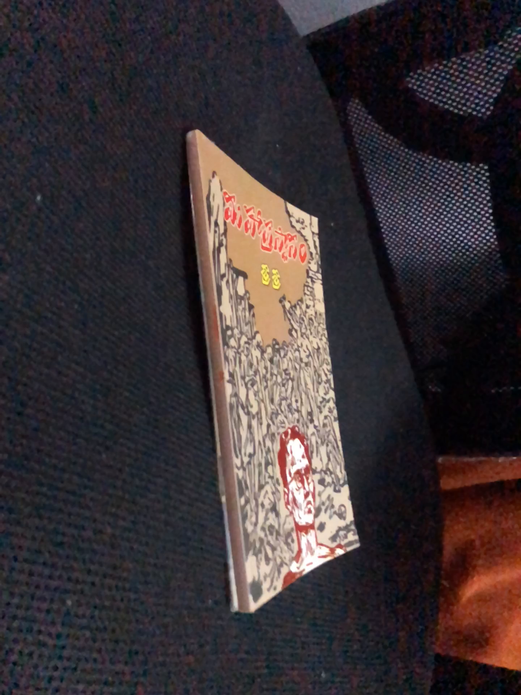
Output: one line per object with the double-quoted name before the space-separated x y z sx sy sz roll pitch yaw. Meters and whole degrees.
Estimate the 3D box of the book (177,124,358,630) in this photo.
"book" 0.011 0.013 0.315 0.141 0.018 0.220 10 73 -62
